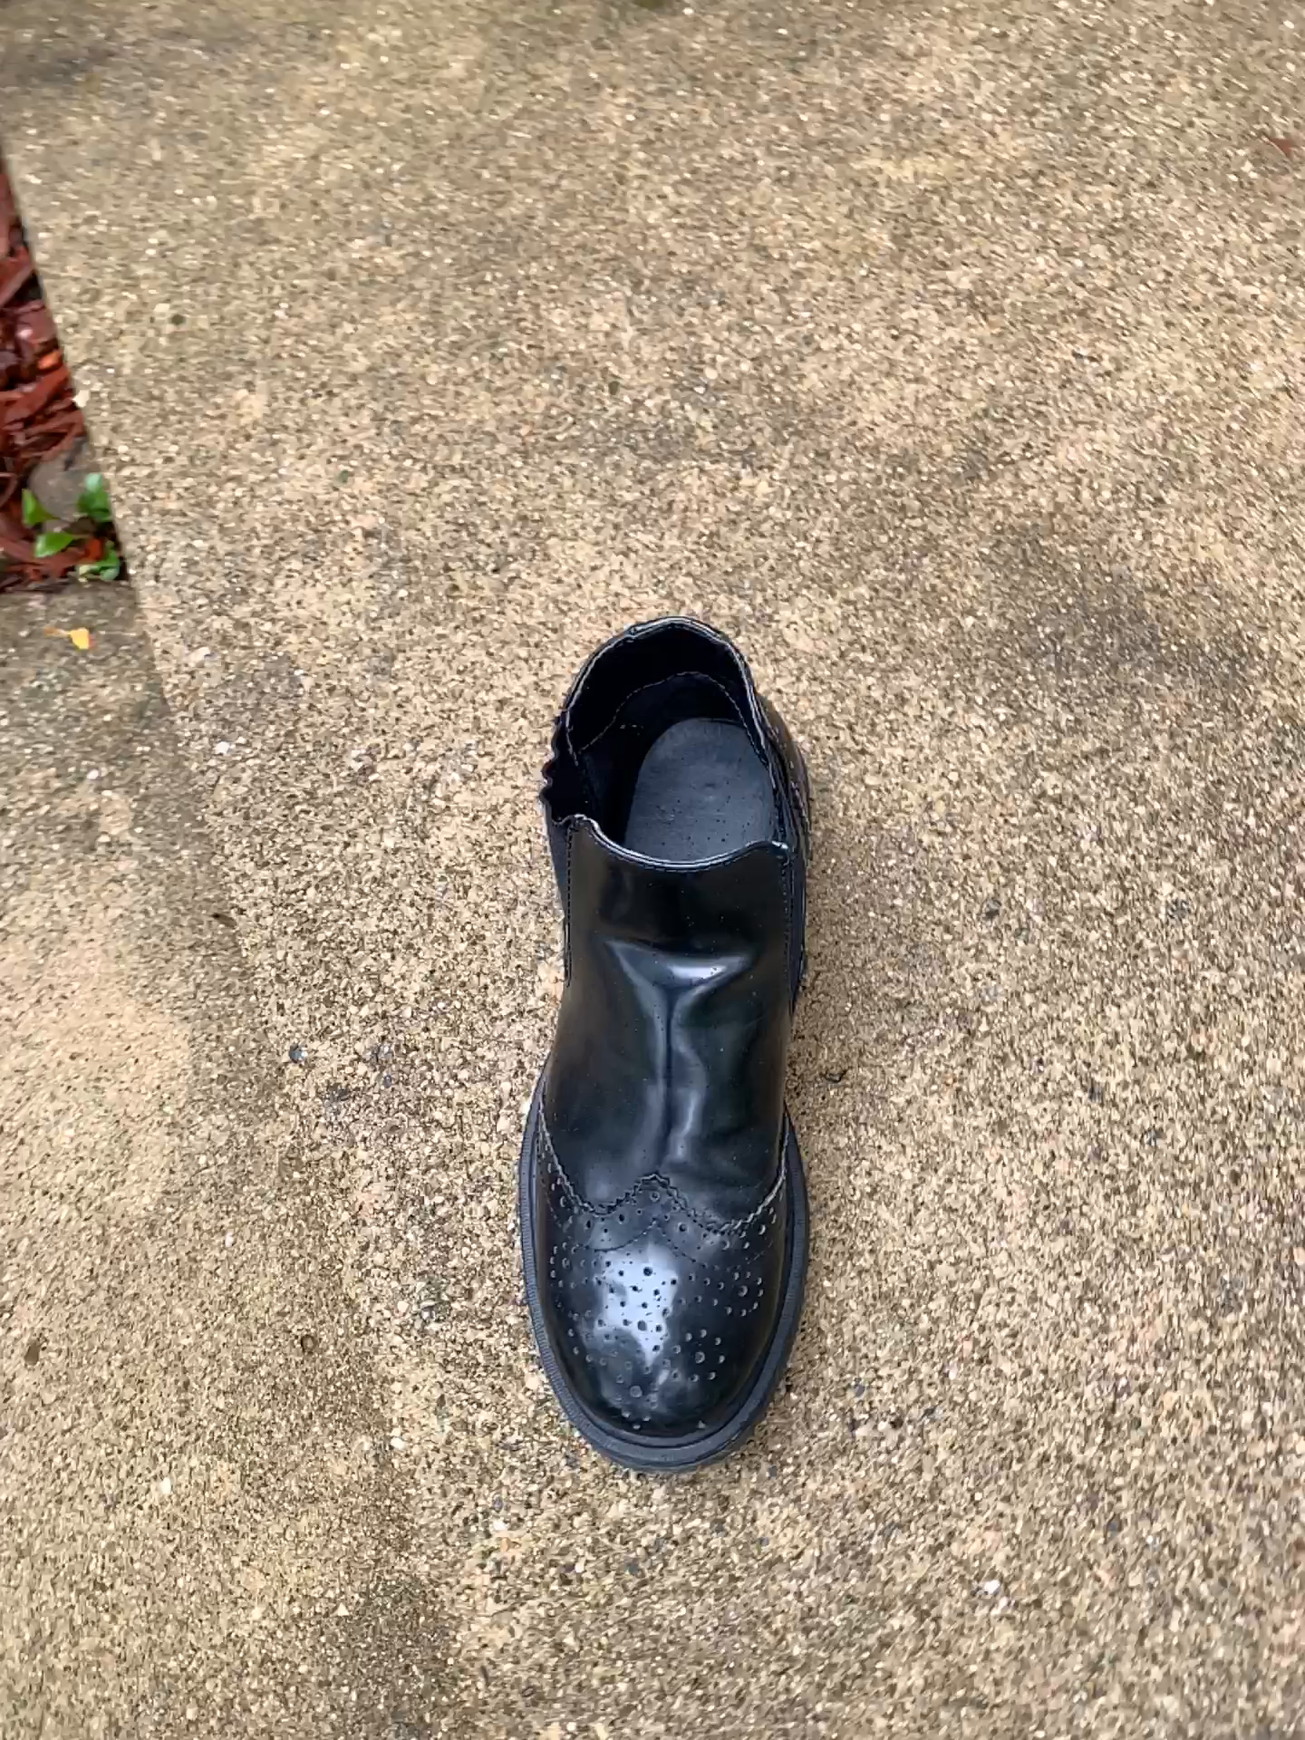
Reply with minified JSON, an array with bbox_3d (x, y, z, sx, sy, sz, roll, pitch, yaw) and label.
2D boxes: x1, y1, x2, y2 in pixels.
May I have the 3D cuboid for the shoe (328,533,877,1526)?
[{"bbox_3d":[0.003,0.049,0.431,0.118,0.149,0.267,3,69,9],"label":"shoe"}]
